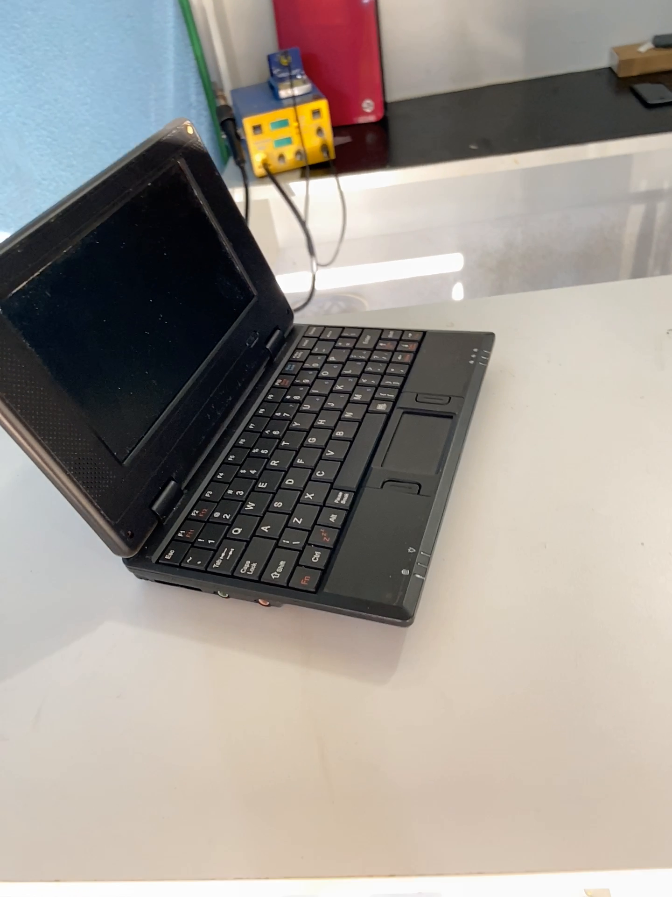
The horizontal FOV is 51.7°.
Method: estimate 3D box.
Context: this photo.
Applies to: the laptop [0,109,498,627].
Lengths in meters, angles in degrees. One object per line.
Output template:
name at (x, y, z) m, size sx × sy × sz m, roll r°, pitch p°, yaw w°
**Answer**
laptop at (-0.029, -0.058, 0.347) m, size 0.179 × 0.137 × 0.217 m, roll 7°, pitch 44°, yaw 20°
